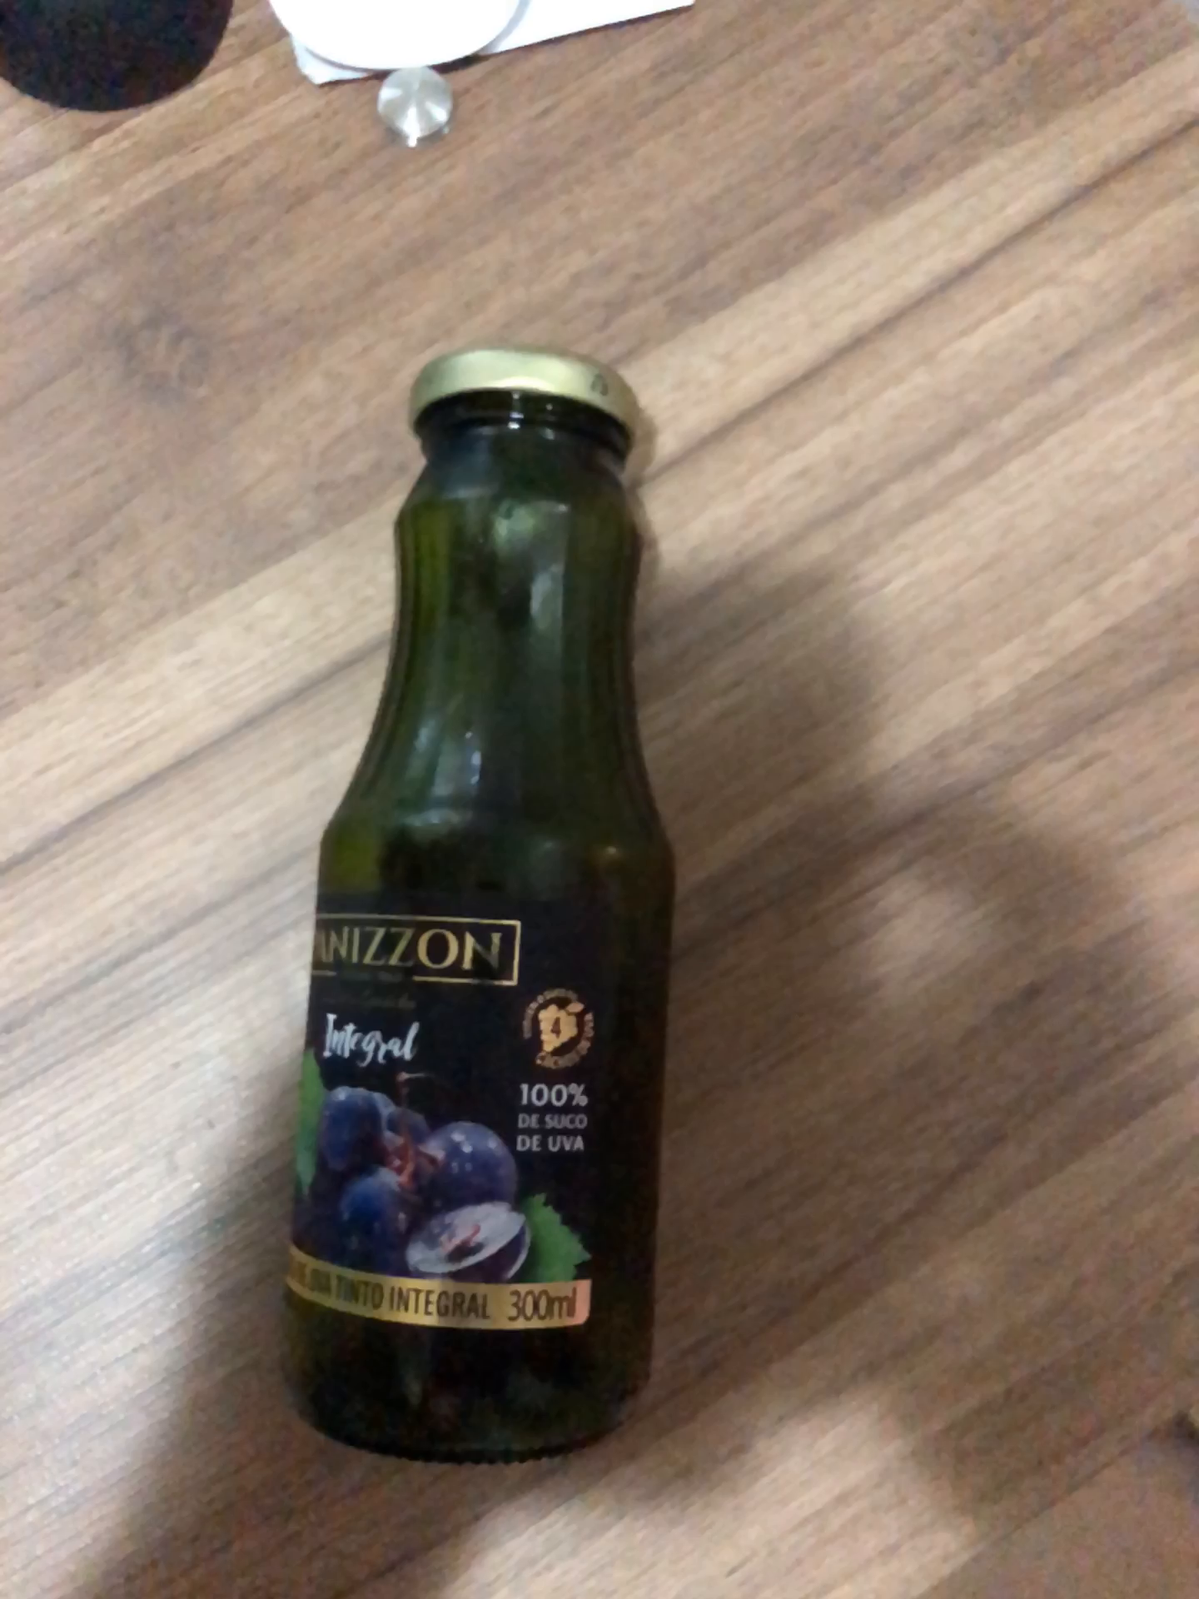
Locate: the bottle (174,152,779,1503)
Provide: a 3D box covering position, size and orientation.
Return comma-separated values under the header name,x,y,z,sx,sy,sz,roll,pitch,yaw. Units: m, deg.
name,x,y,z,sx,sy,sz,roll,pitch,yaw
bottle,-0.018,0.004,0.247,0.070,0.070,0.200,-1,82,35
